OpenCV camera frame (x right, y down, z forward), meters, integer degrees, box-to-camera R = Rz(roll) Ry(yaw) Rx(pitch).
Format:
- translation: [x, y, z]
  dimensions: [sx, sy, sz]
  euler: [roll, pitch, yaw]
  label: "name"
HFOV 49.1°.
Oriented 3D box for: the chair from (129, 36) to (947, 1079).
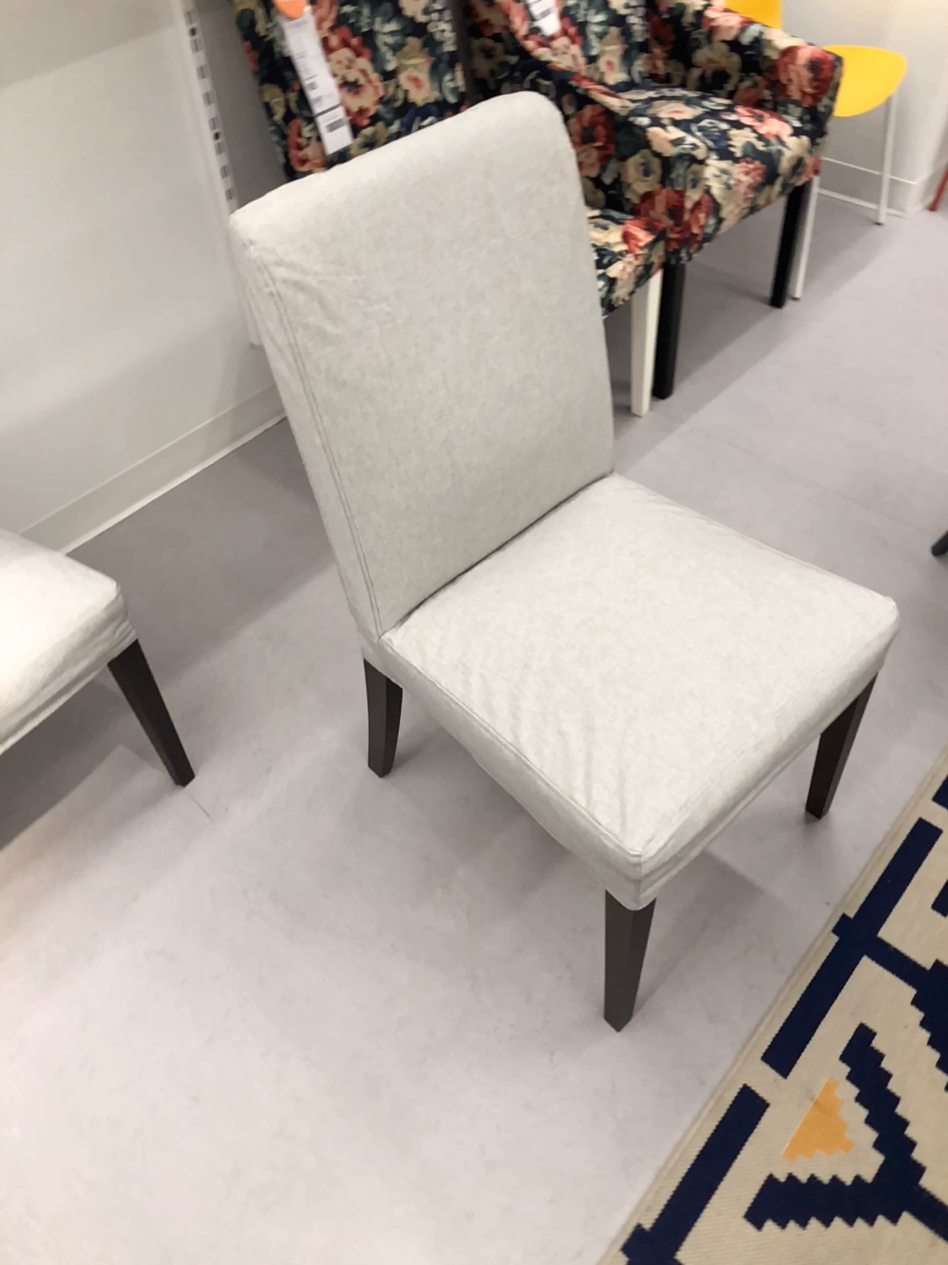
- translation: [0.136, -0.076, 1.202]
  dimensions: [0.561, 0.855, 0.643]
  euler: [-37, 55, -27]
  label: "chair"
